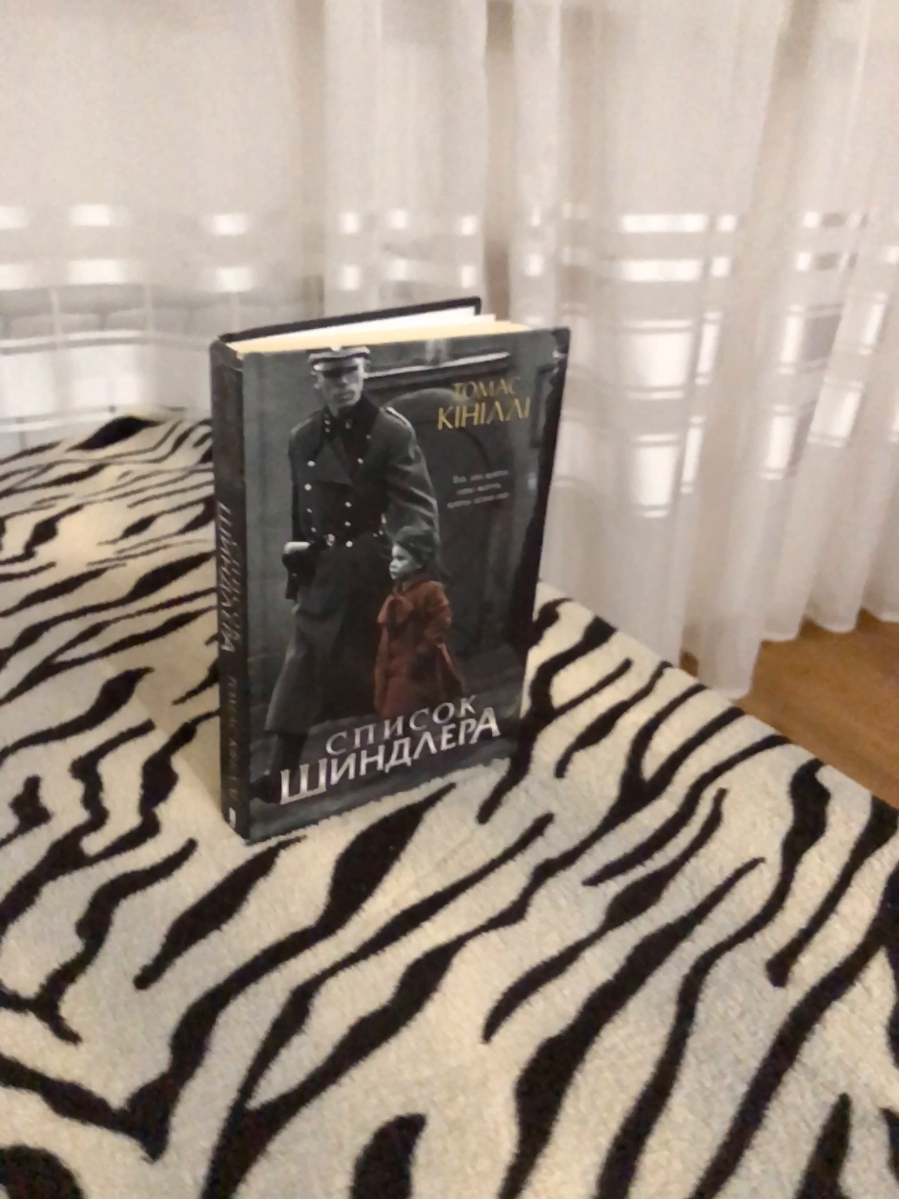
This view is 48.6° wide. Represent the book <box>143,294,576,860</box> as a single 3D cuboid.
[{"bbox_3d":[-0.034,-0.013,0.397,0.144,0.191,0.057,-16,34,-33],"label":"book"}]
